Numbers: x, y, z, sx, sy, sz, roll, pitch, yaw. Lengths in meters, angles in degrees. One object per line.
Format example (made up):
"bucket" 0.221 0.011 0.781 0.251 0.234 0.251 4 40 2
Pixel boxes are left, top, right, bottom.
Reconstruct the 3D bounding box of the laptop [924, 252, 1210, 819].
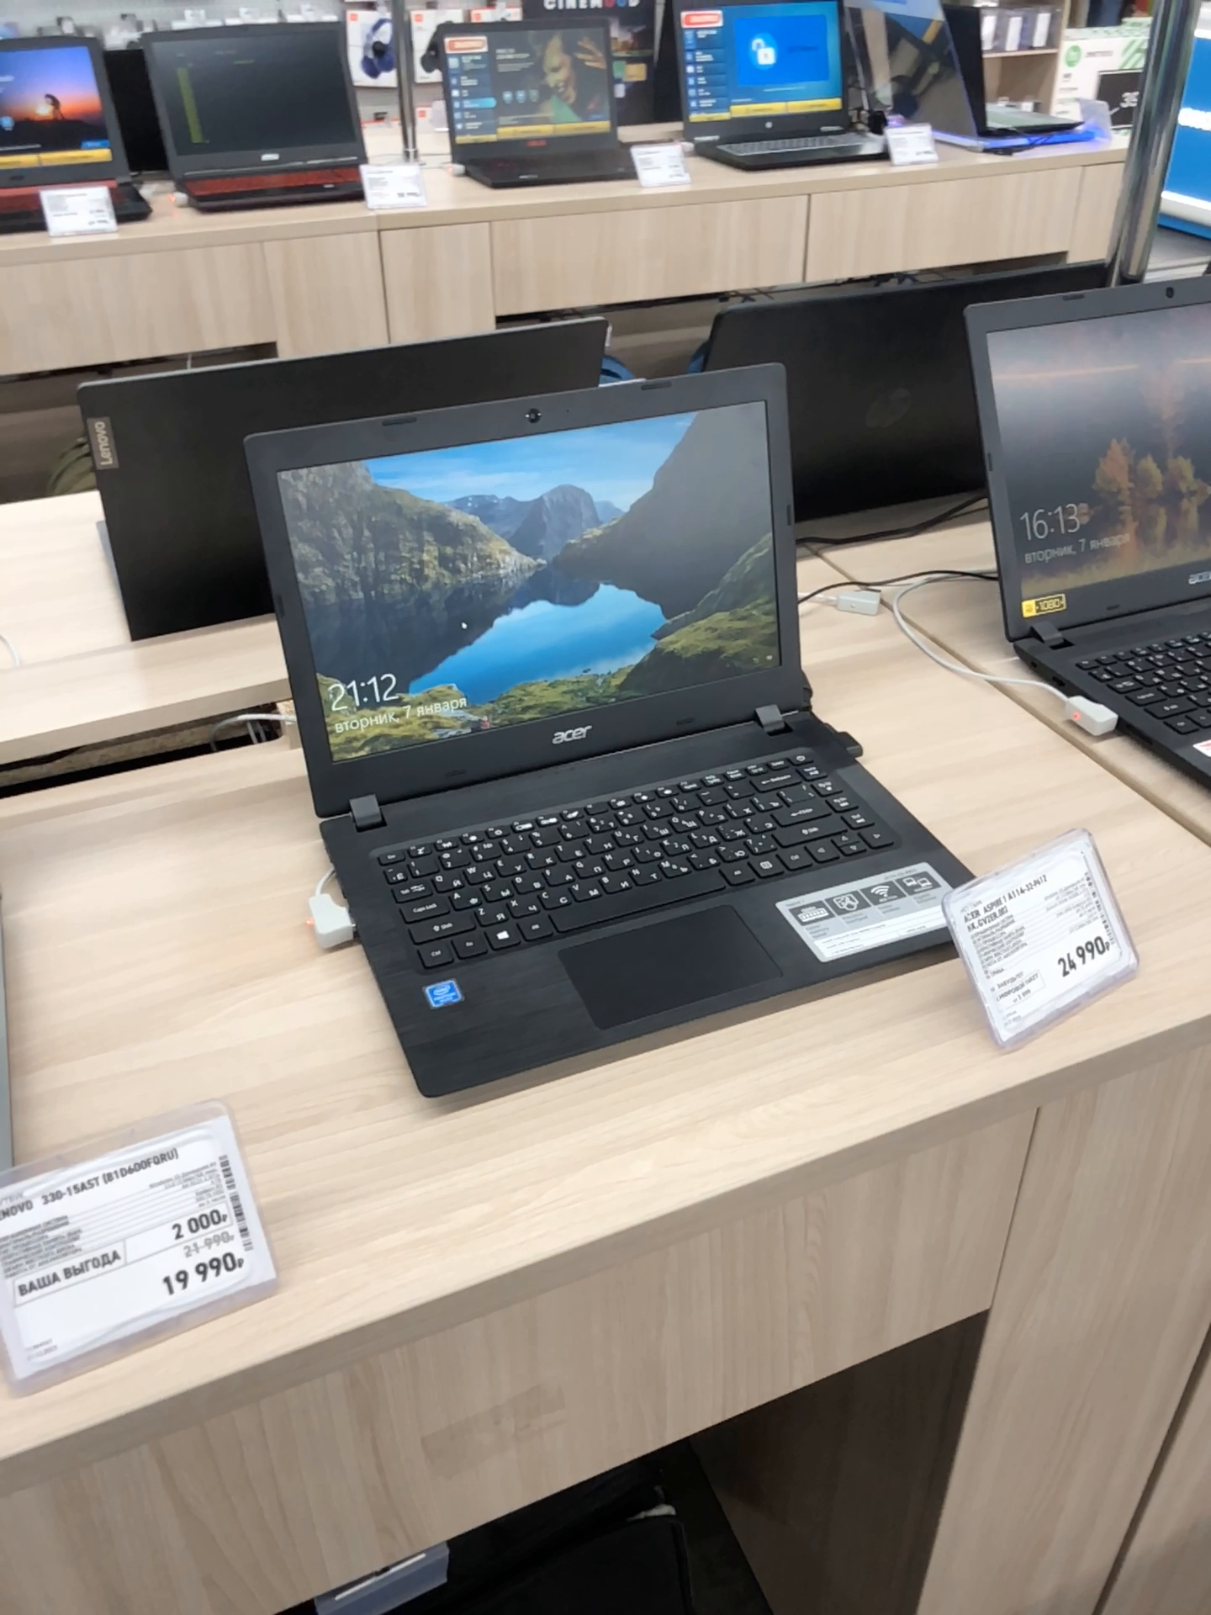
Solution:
"laptop" 0.512 -0.225 0.951 0.379 0.216 0.377 -14 37 -19

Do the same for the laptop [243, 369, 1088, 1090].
"laptop" 0.013 -0.073 0.749 0.343 0.223 0.303 -13 36 -18

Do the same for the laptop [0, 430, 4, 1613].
"laptop" -0.489 0.036 0.570 0.362 0.236 0.339 -13 36 -17
